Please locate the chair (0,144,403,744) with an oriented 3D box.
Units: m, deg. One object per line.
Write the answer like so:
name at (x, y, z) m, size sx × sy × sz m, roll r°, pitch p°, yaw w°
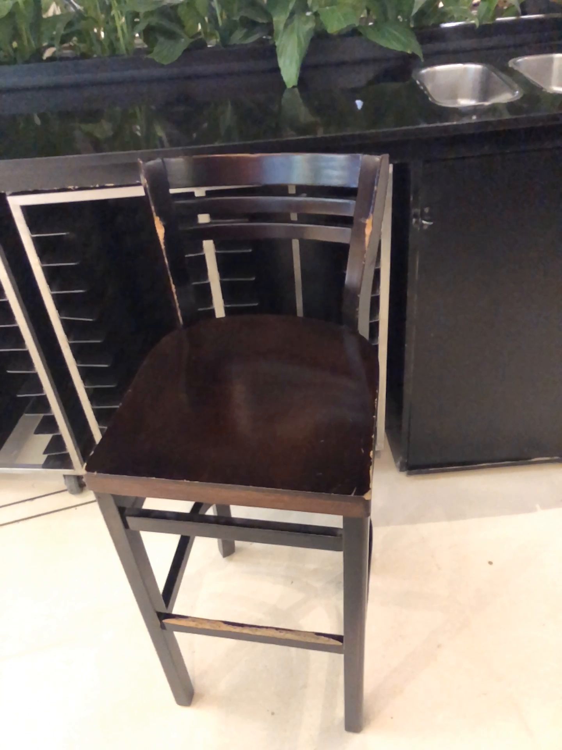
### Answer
chair at (-0.037, 0.152, 1.053) m, size 0.440 × 0.913 × 0.453 m, roll 3°, pitch 38°, yaw 12°
